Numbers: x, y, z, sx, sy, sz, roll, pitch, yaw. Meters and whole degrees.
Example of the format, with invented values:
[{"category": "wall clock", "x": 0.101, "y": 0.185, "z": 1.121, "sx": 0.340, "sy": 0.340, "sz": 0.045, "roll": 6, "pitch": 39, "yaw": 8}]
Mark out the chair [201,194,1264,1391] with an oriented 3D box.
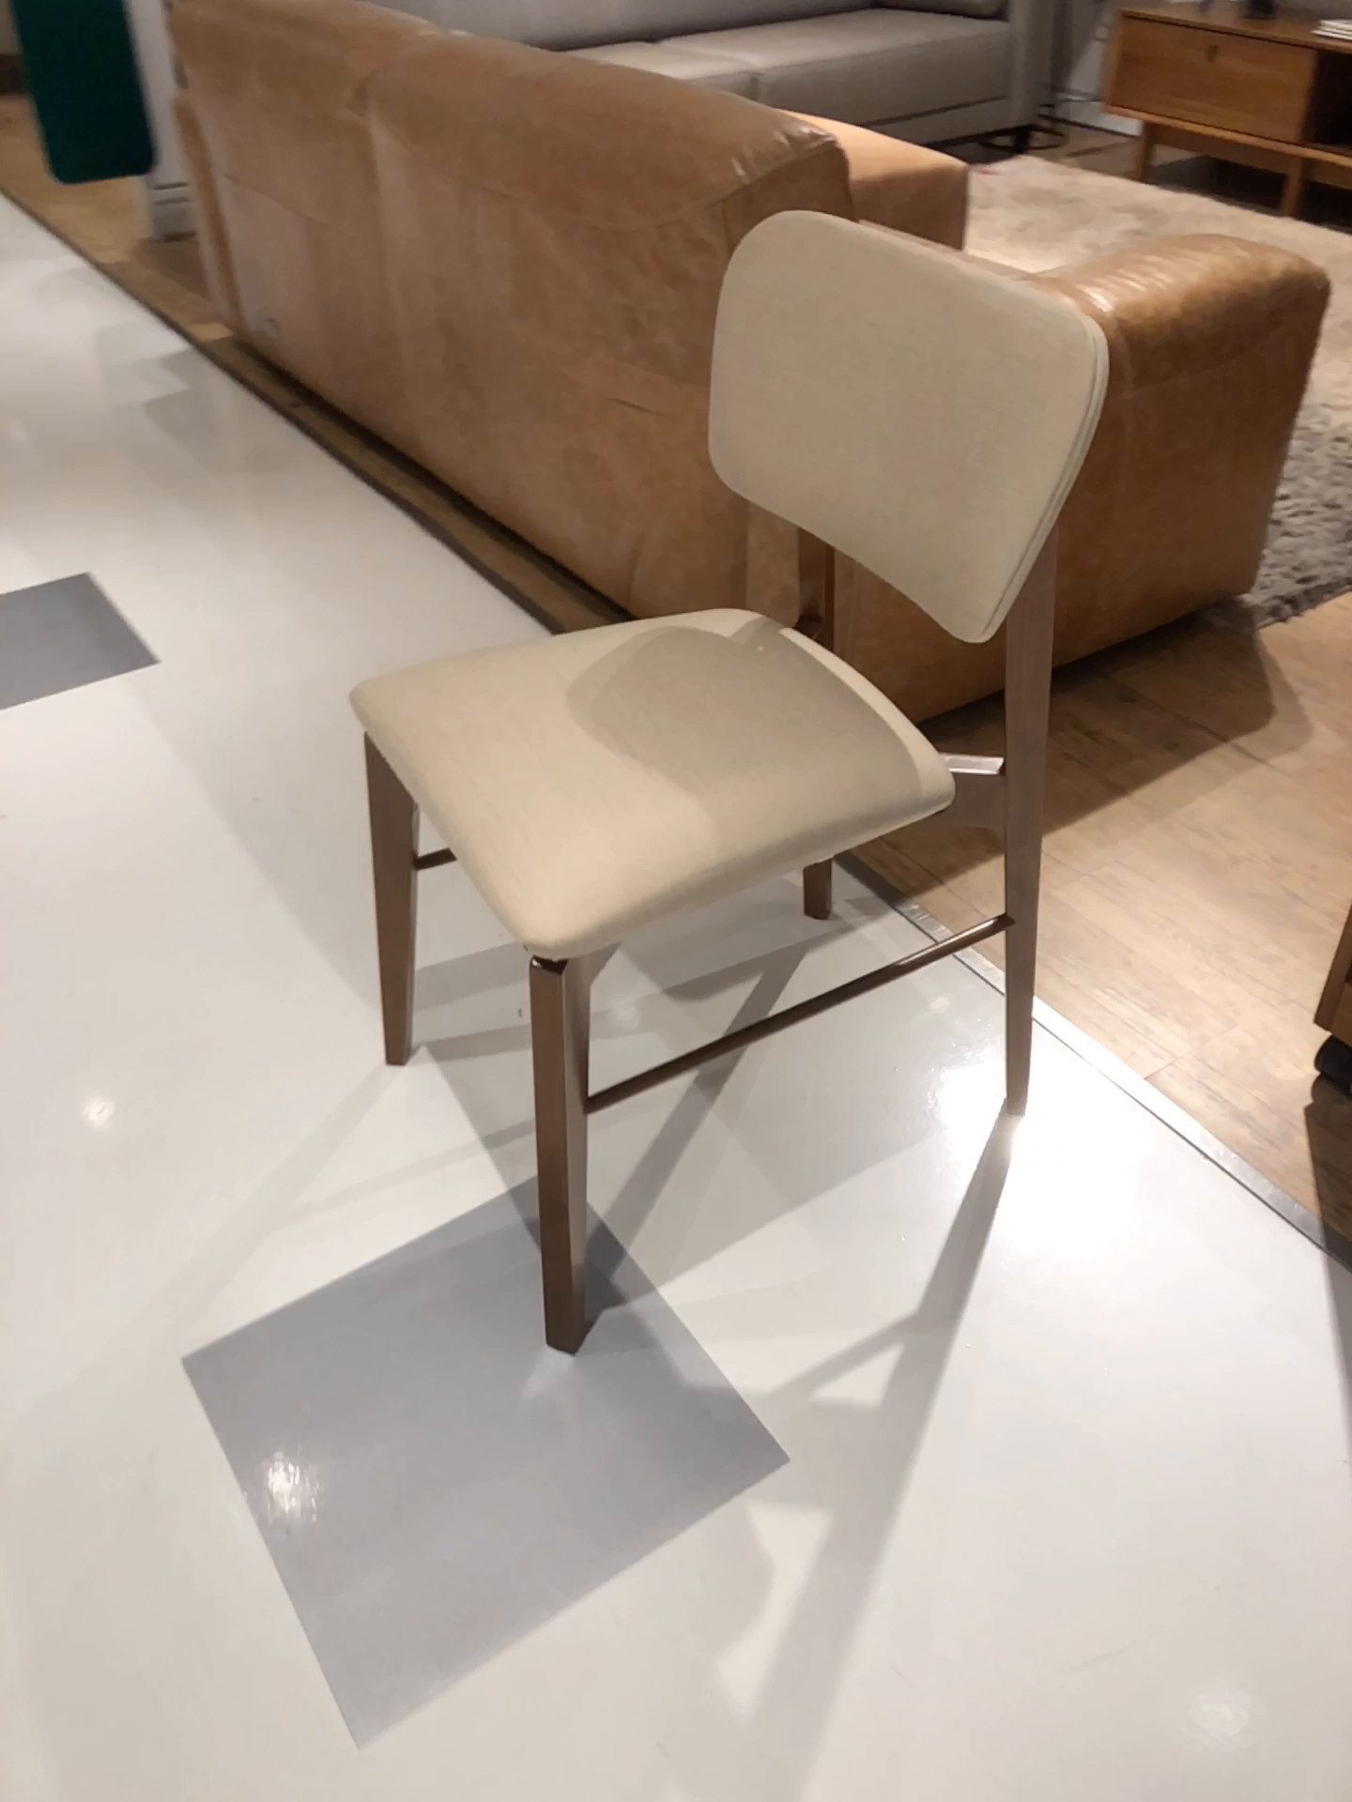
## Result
[{"category": "chair", "x": 0.022, "y": -0.116, "z": 1.305, "sx": 0.591, "sy": 0.764, "sz": 0.513, "roll": -19, "pitch": 41, "yaw": -21}]
